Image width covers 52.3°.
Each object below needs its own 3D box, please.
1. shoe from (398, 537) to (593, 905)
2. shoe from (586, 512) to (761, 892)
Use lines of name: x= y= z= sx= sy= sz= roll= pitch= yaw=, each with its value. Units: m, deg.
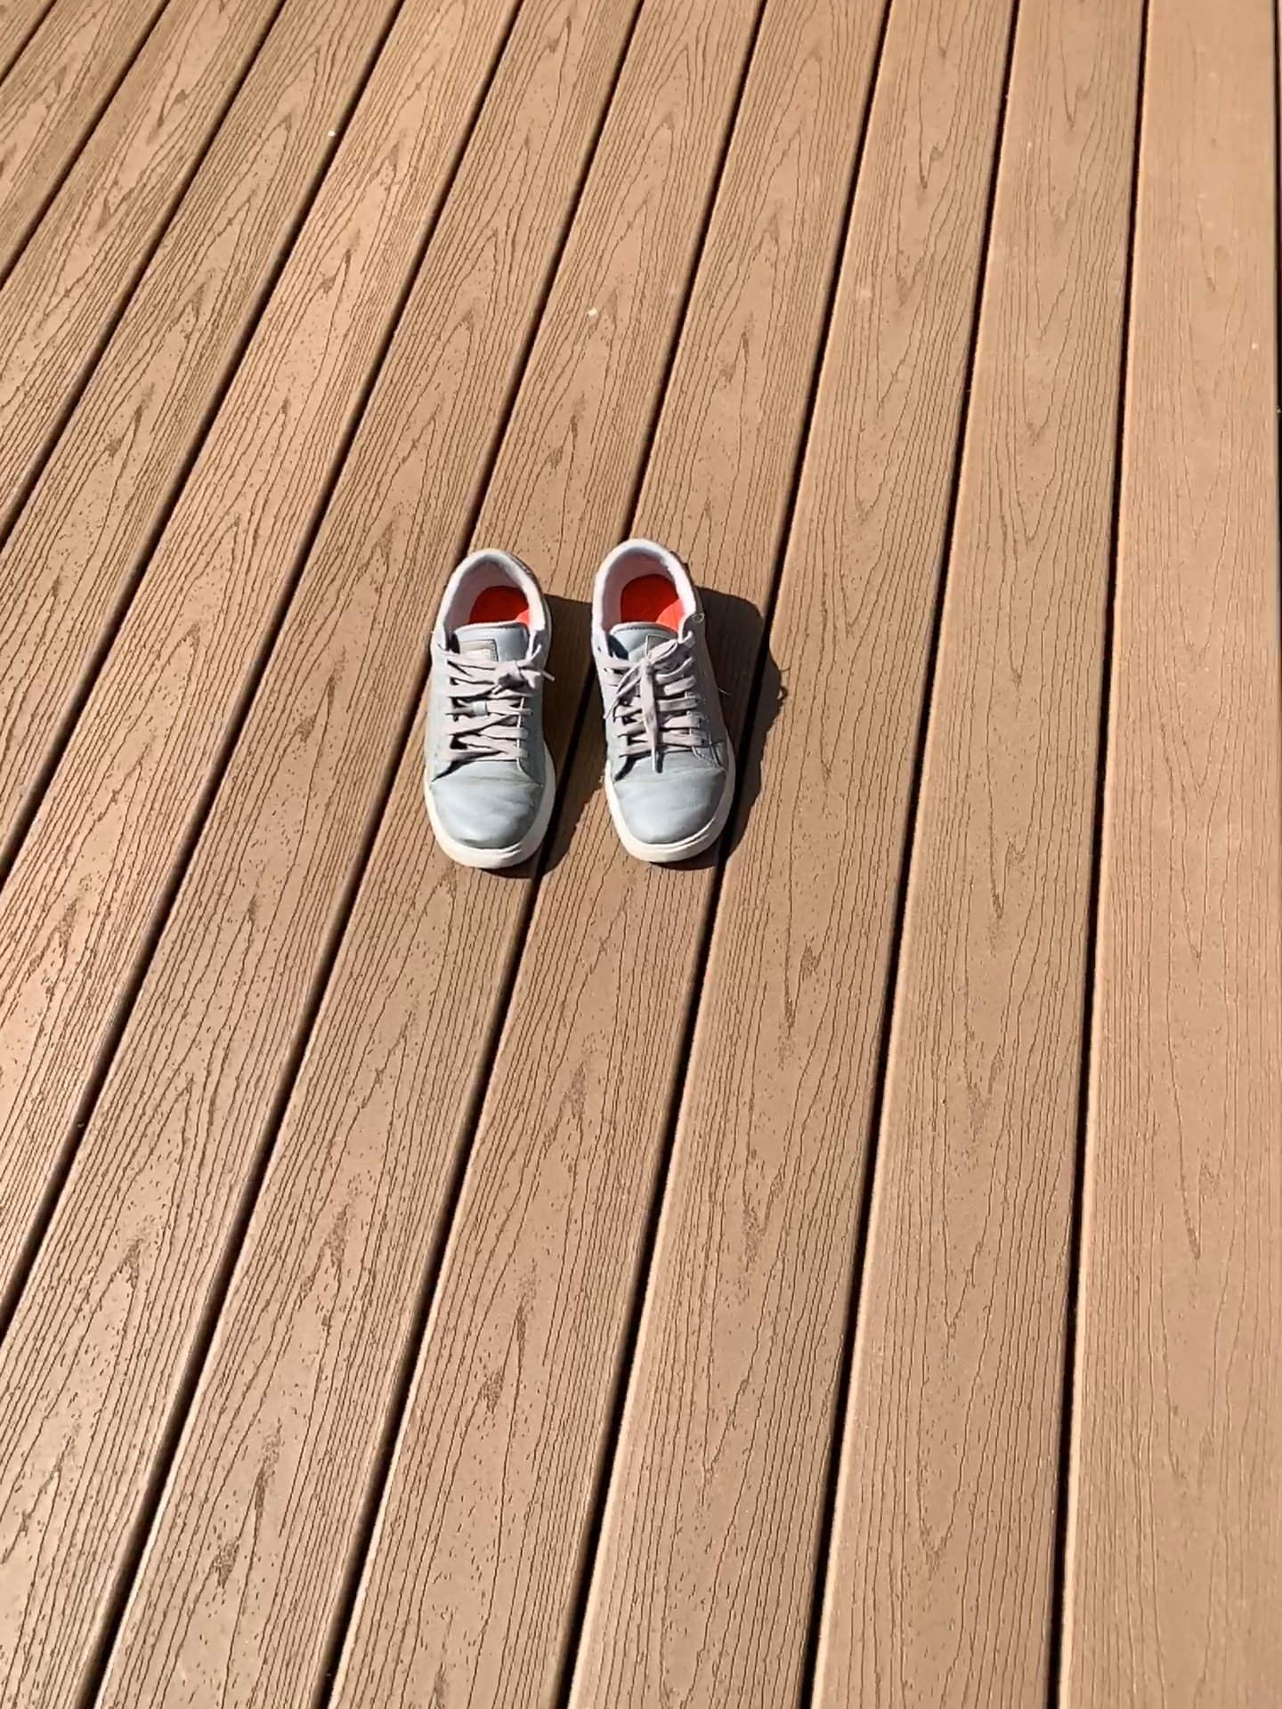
shoe: x=-0.111 y=-0.112 z=1.069 sx=0.120 sy=0.100 sz=0.291 roll=1 pitch=64 yaw=4
shoe: x=0.023 y=-0.126 z=1.051 sx=0.120 sy=0.100 sz=0.291 roll=-3 pitch=63 yaw=2
